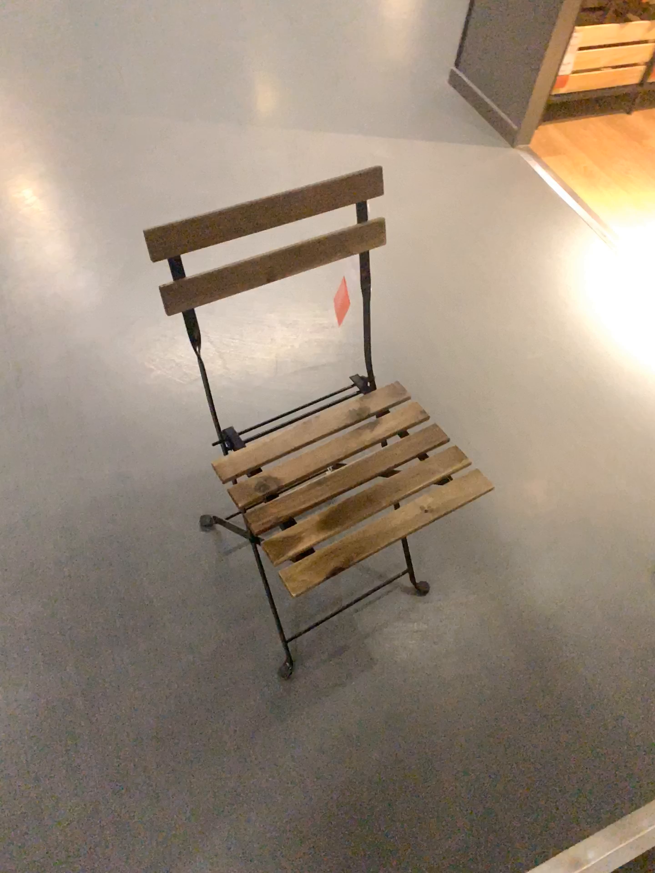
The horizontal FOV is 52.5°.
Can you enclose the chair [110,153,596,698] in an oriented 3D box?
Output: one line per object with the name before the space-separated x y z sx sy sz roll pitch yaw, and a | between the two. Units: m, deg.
chair | -0.011 0.014 1.142 0.430 0.698 0.501 -24 60 -22
